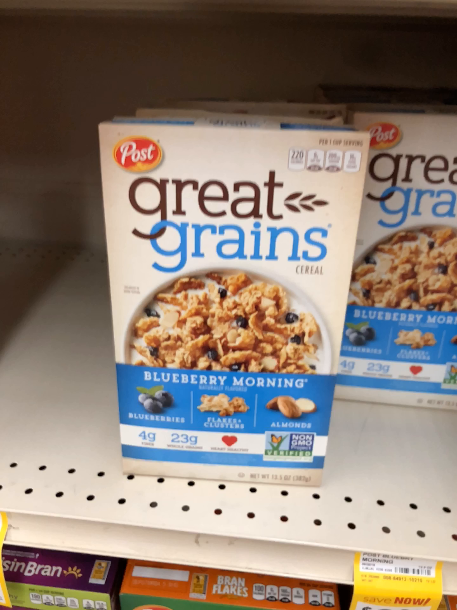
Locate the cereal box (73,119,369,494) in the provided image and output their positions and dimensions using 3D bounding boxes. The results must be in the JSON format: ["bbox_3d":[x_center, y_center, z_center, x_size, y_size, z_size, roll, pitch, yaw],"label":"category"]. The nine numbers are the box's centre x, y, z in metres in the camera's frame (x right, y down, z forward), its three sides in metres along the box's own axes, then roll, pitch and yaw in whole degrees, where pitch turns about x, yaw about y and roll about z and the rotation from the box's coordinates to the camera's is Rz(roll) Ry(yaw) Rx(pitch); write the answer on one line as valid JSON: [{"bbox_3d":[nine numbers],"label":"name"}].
[{"bbox_3d":[-0.007,0.010,0.395,0.180,0.279,0.060,3,24,3],"label":"cereal box"}]
